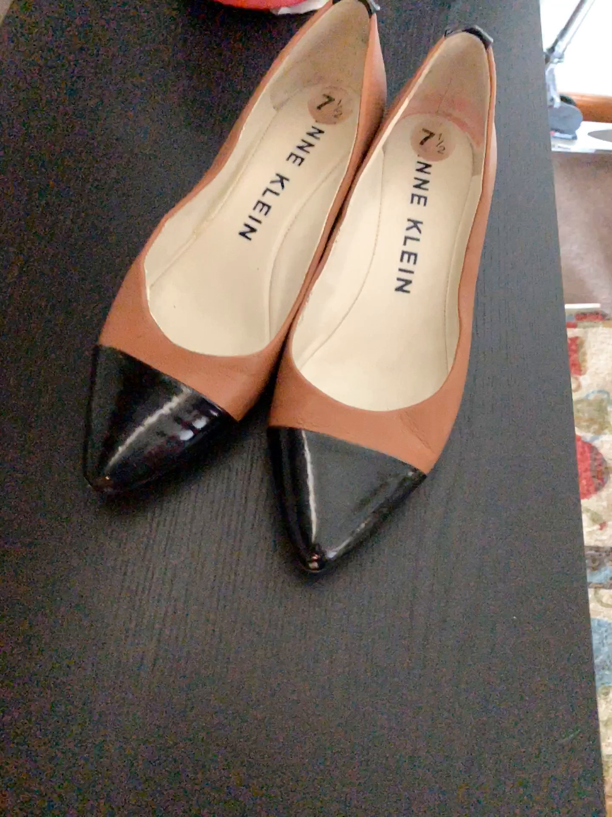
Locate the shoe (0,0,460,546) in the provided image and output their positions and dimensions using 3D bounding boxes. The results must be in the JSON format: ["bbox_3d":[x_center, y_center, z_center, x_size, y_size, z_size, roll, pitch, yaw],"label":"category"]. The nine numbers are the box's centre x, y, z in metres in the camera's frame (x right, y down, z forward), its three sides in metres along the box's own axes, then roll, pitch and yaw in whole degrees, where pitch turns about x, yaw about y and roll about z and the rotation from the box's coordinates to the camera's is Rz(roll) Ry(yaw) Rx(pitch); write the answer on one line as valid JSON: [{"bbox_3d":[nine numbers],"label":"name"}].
[{"bbox_3d":[-0.028,-0.082,0.293,0.092,0.080,0.261,26,66,7],"label":"shoe"}]

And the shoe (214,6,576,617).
[{"bbox_3d":[0.047,-0.052,0.299,0.092,0.099,0.261,16,65,3],"label":"shoe"}]
